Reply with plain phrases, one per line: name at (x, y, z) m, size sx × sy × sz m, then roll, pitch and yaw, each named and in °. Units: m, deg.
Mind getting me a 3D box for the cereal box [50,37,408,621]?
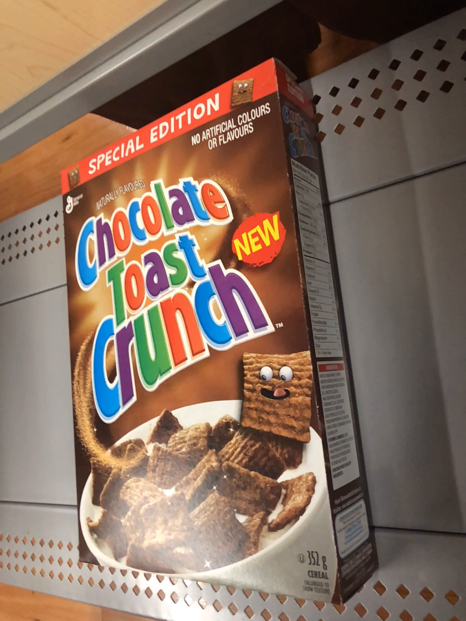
cereal box at (-0.019, 0.018, 0.340) m, size 0.201 × 0.090 × 0.290 m, roll -11°, pitch 78°, yaw 34°
